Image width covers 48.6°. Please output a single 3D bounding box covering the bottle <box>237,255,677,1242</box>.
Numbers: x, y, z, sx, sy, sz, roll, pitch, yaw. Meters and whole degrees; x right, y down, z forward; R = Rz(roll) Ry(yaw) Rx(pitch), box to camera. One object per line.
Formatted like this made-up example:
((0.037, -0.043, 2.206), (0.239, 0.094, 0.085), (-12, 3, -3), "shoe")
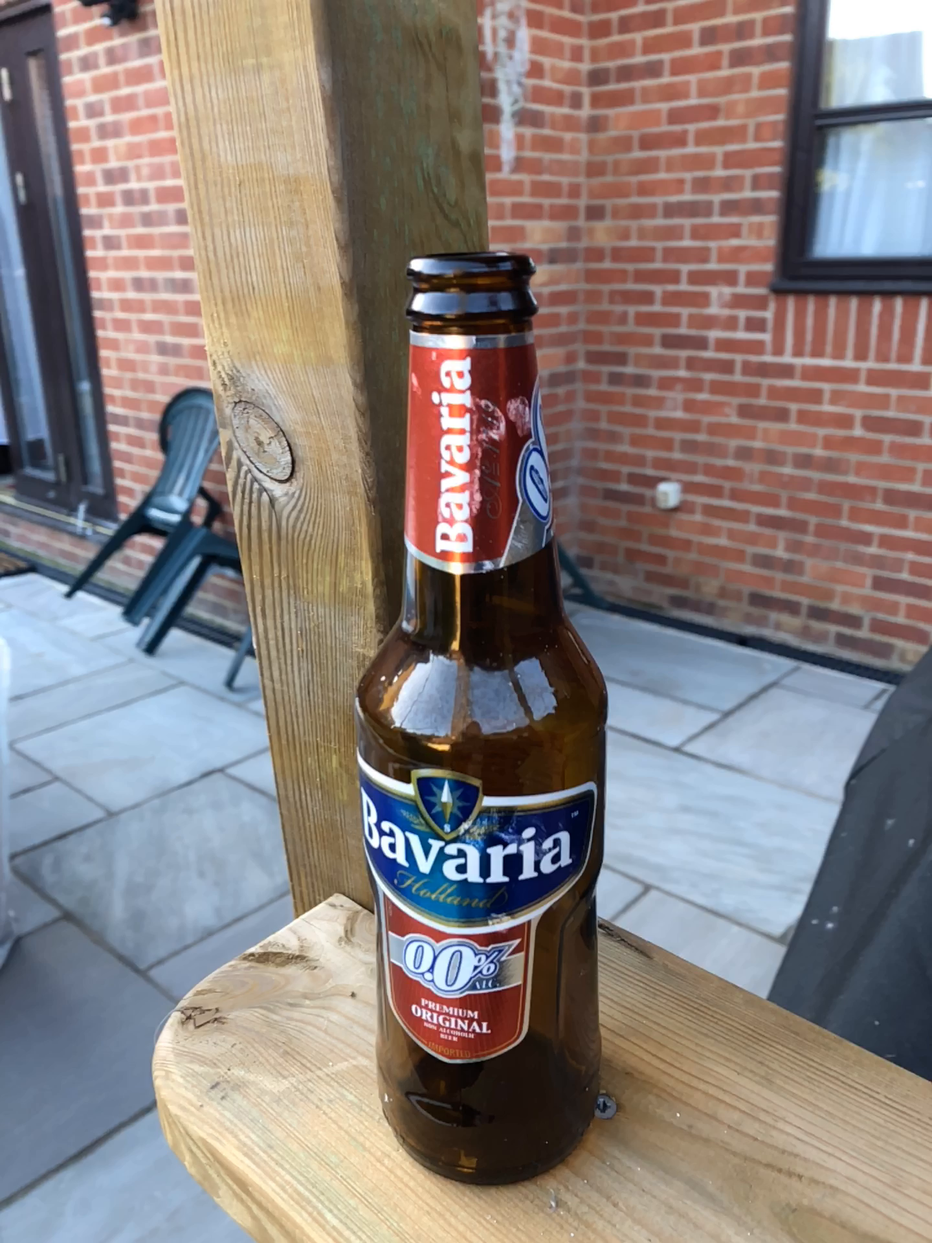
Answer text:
((0.003, 0.027, 0.237), (0.070, 0.209, 0.060), (6, 20, 20), "bottle")
